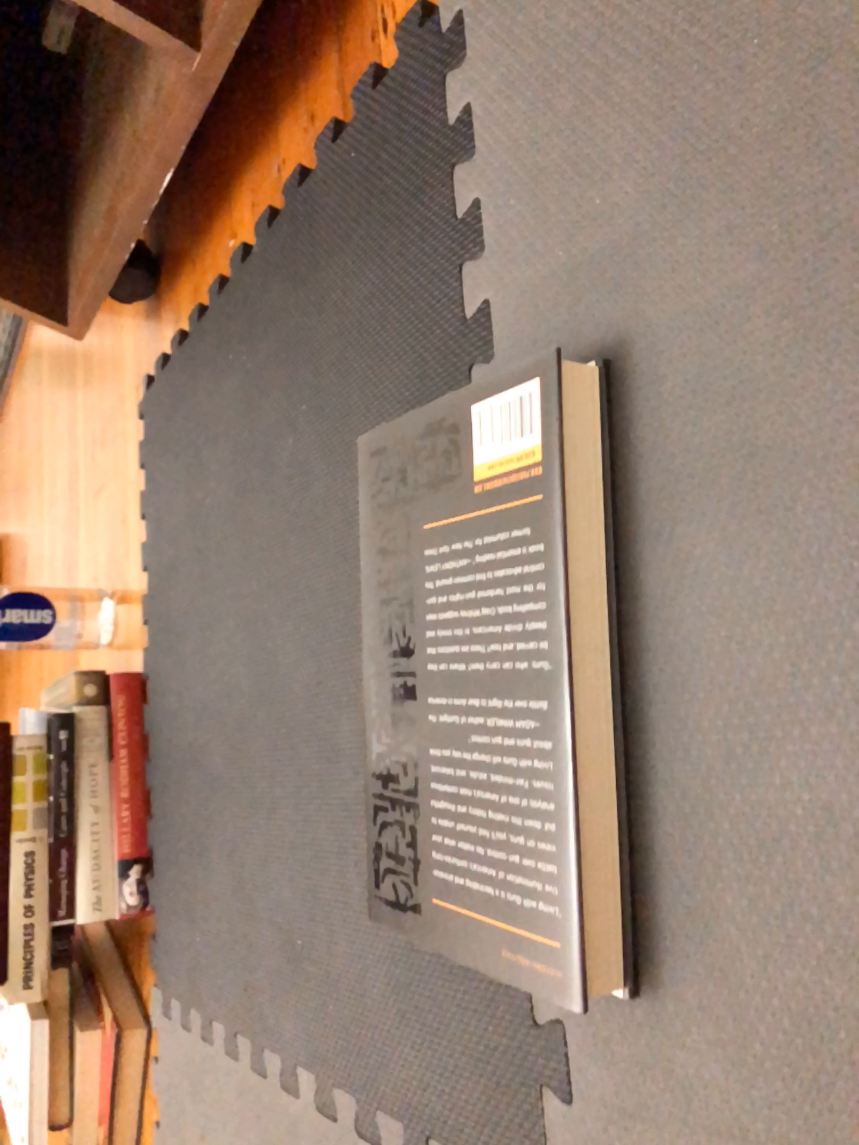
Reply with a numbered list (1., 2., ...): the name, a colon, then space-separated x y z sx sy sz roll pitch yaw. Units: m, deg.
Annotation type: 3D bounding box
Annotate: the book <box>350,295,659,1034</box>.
1. book: 0.022 0.035 0.418 0.171 0.040 0.260 -8 81 58
